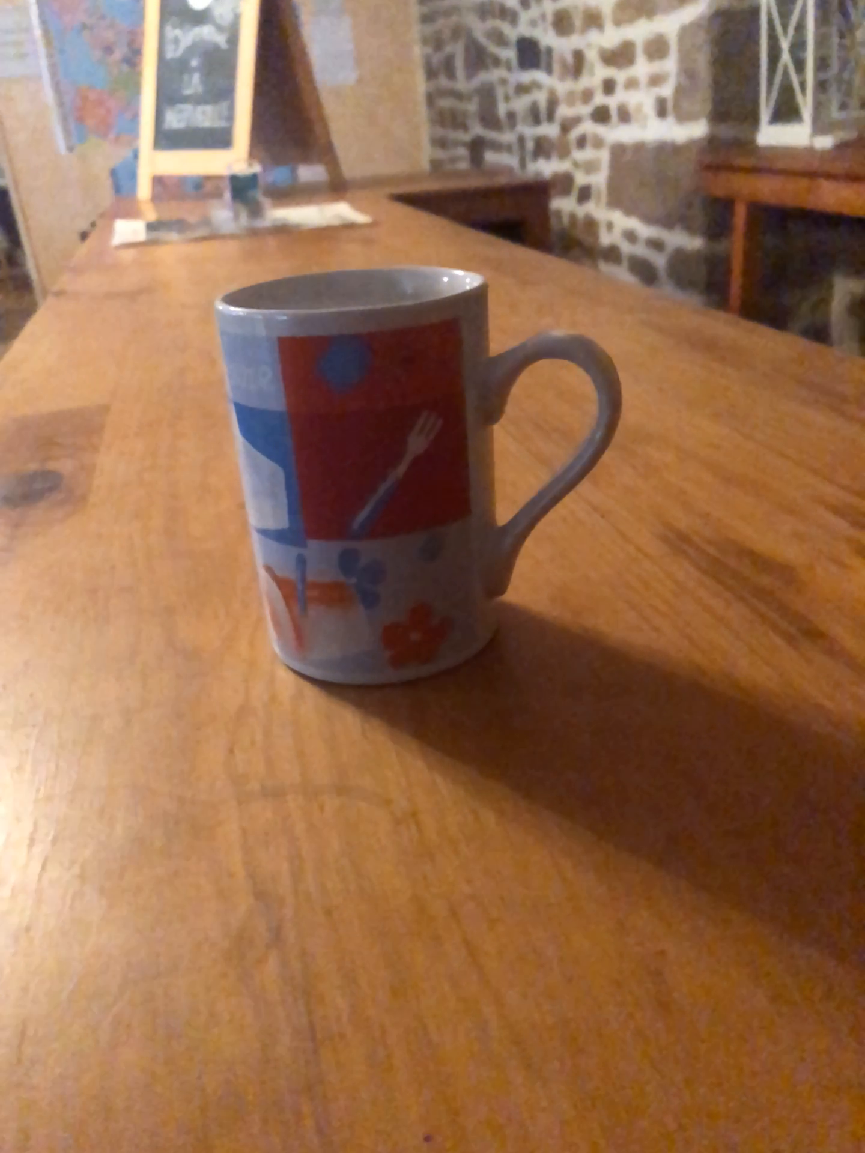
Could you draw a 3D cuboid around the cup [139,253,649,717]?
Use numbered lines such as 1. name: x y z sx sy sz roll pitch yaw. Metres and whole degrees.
1. cup: -0.001 -0.030 0.267 0.112 0.099 0.080 3 27 16
